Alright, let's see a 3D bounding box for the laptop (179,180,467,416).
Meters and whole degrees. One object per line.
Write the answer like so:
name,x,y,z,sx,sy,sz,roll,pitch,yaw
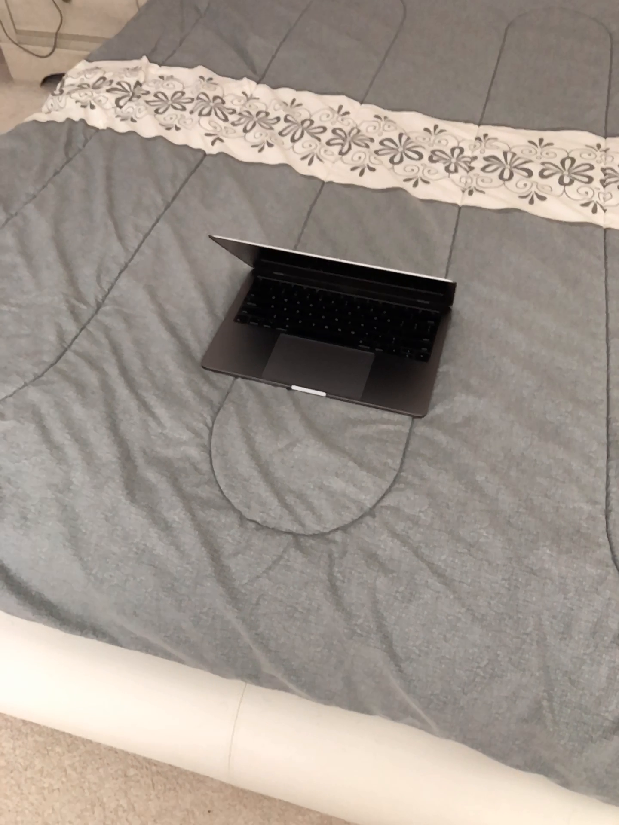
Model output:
laptop,0.023,-0.142,0.814,0.278,0.140,0.195,12,52,11
